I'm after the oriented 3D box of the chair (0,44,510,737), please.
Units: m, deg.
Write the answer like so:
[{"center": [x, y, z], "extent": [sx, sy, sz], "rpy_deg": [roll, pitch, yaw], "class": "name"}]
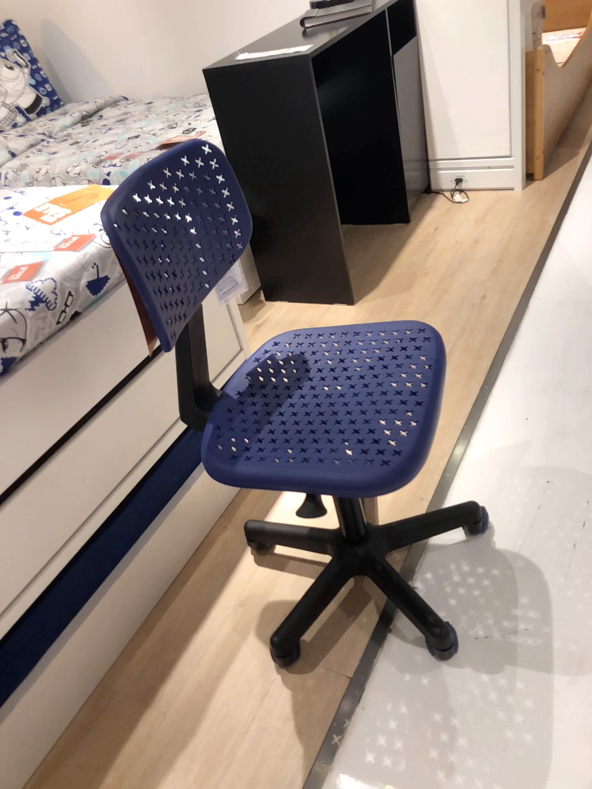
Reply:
[{"center": [0.018, -0.003, 1.030], "extent": [0.521, 0.813, 0.554], "rpy_deg": [5, 40, 26], "class": "chair"}]
